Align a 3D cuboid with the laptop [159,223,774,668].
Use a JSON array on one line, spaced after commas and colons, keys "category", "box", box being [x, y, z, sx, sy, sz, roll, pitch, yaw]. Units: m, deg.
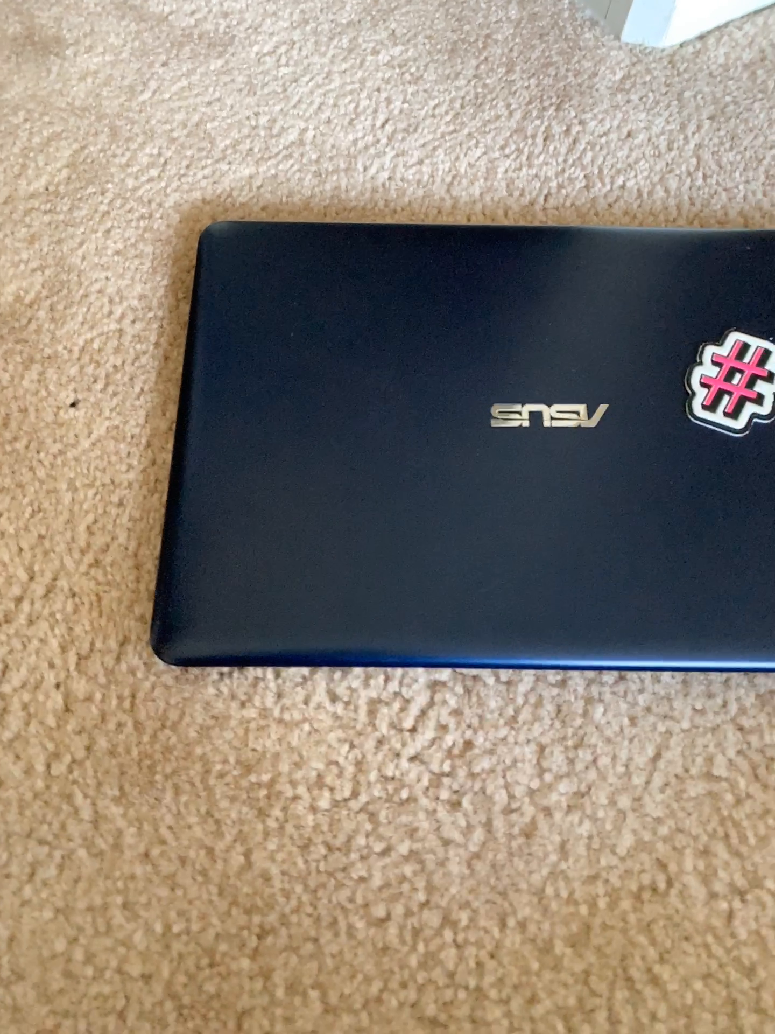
[{"category": "laptop", "box": [0.059, -0.035, 0.305, 0.271, 0.006, 0.182, 1, 68, -1]}]
